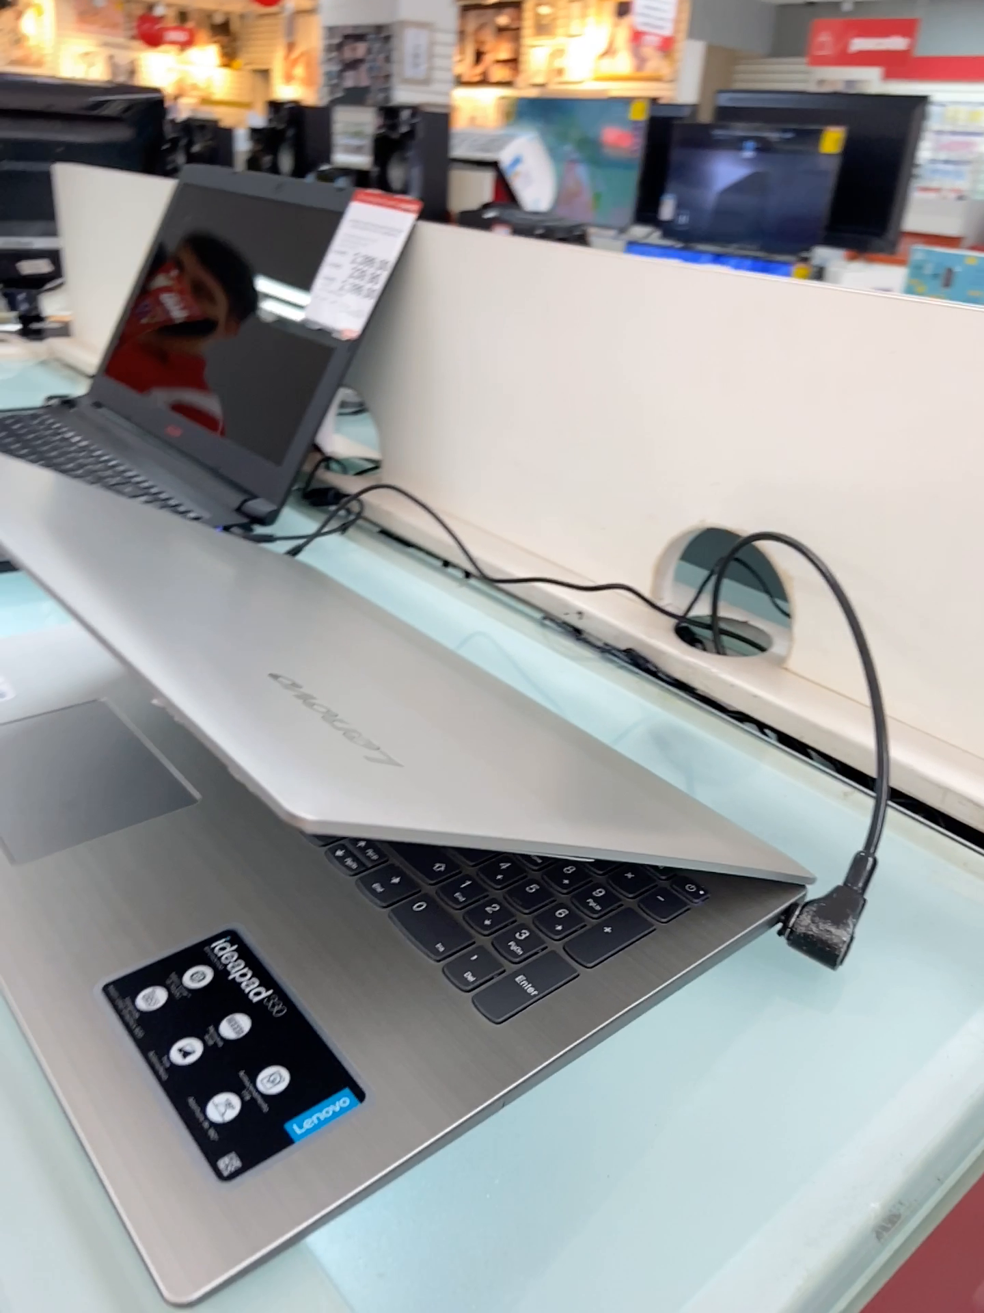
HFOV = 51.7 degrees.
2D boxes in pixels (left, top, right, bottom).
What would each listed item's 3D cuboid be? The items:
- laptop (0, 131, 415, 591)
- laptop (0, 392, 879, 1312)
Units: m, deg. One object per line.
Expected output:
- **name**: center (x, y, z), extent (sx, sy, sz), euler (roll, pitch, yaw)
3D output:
- **laptop**: center (-0.321, -0.261, 0.784), extent (0.401, 0.211, 0.355), euler (-20, 36, -40)
- **laptop**: center (-0.092, -0.002, 0.403), extent (0.247, 0.114, 0.370), euler (-18, 32, -36)
